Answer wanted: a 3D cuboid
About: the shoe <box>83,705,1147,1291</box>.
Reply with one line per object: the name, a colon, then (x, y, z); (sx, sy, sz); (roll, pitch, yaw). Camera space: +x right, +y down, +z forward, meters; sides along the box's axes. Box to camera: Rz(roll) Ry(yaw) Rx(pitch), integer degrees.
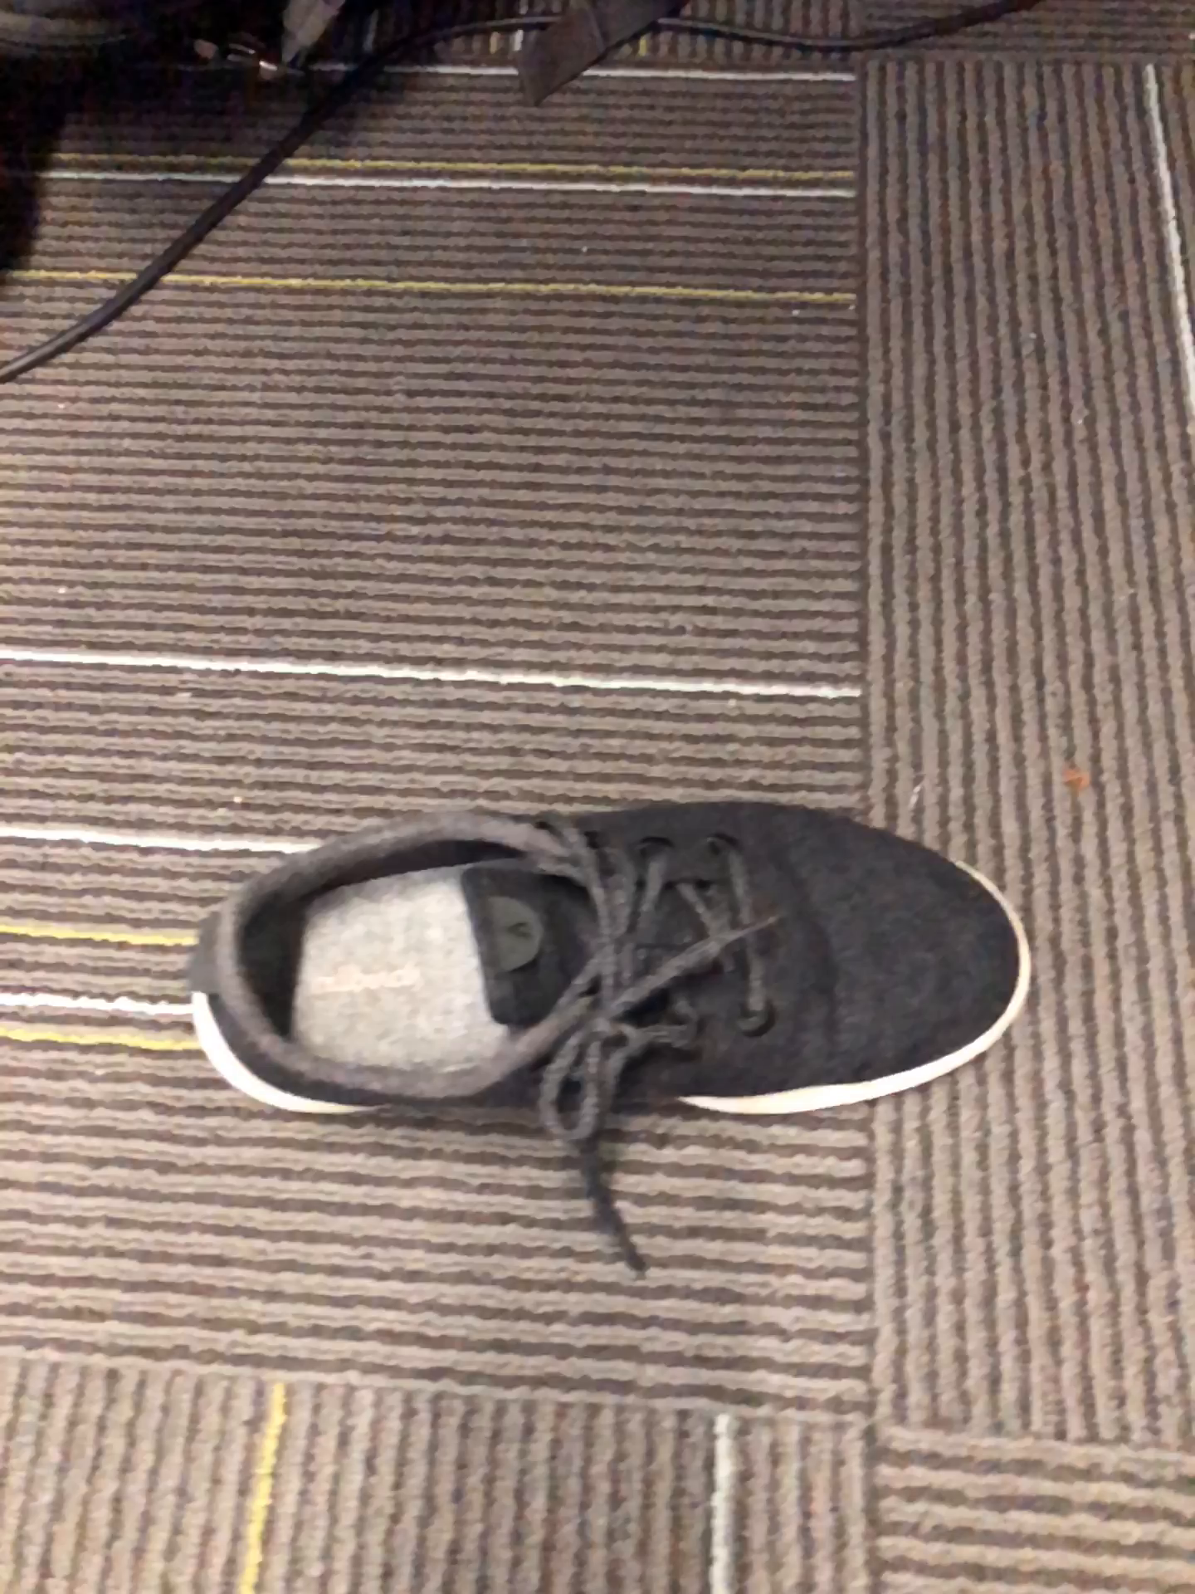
shoe: (0.000, 0.061, 0.403); (0.280, 0.060, 0.140); (-5, 65, 0)
